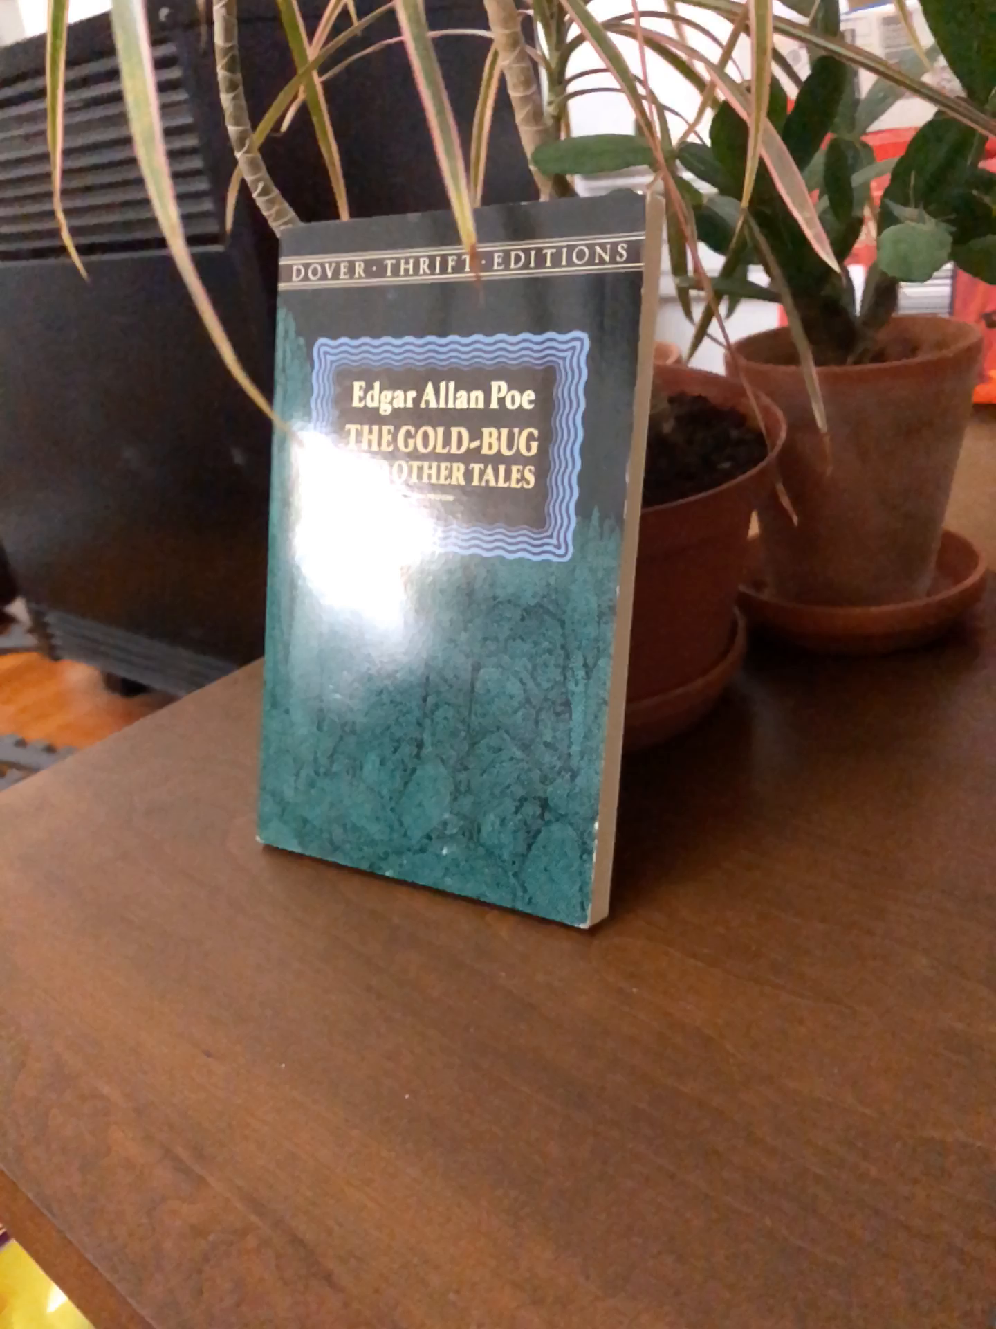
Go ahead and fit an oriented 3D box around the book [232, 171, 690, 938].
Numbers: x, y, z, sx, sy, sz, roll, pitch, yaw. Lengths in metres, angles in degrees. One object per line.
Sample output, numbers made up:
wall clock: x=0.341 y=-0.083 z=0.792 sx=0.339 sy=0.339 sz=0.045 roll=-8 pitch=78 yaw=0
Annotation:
book: x=-0.019 y=-0.036 z=0.348 sx=0.140 sy=0.210 sz=0.020 roll=8 pitch=6 yaw=30
